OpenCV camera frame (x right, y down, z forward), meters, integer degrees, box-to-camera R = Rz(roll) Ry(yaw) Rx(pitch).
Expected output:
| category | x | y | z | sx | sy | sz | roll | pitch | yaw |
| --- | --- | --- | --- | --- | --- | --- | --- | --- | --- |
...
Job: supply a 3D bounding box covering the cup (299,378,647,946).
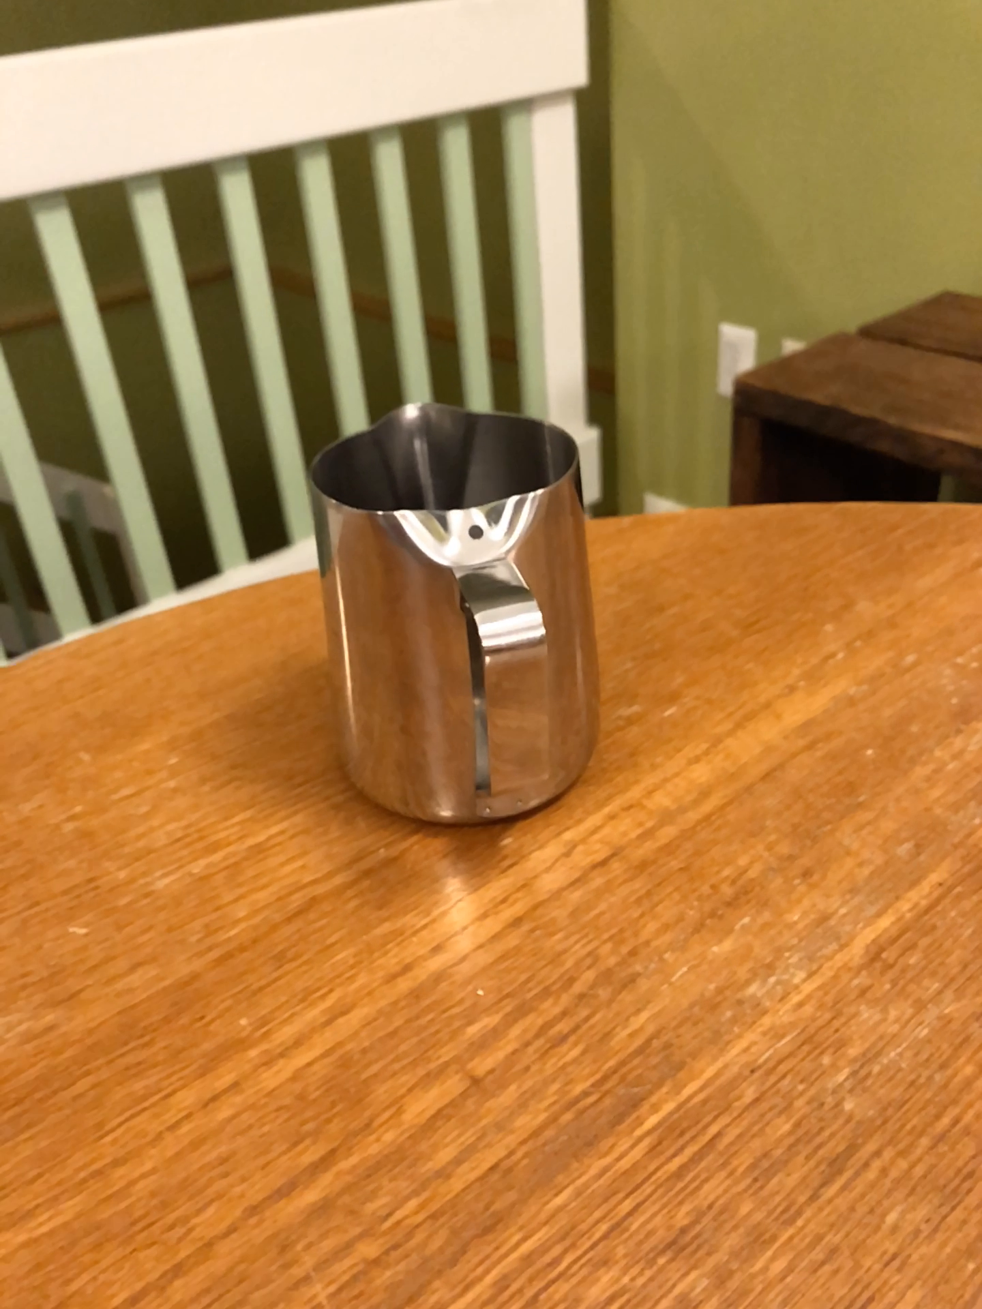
| category | x | y | z | sx | sy | sz | roll | pitch | yaw |
| --- | --- | --- | --- | --- | --- | --- | --- | --- | --- |
| cup | -0.009 | -0.005 | 0.348 | 0.082 | 0.114 | 0.136 | -9 | 33 | -5 |
